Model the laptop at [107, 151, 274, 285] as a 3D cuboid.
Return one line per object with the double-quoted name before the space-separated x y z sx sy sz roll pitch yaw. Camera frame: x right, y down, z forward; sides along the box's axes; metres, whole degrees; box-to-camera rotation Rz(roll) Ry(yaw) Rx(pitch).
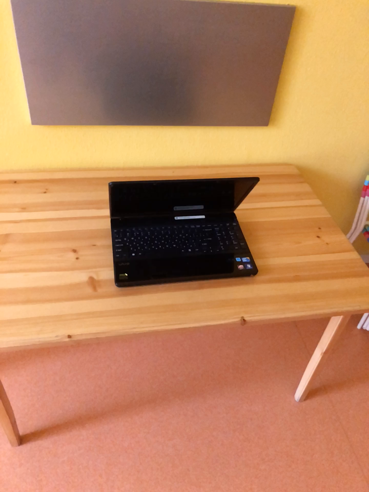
"laptop" -0.004 -0.080 1.033 0.361 0.200 0.248 -4 44 -11
